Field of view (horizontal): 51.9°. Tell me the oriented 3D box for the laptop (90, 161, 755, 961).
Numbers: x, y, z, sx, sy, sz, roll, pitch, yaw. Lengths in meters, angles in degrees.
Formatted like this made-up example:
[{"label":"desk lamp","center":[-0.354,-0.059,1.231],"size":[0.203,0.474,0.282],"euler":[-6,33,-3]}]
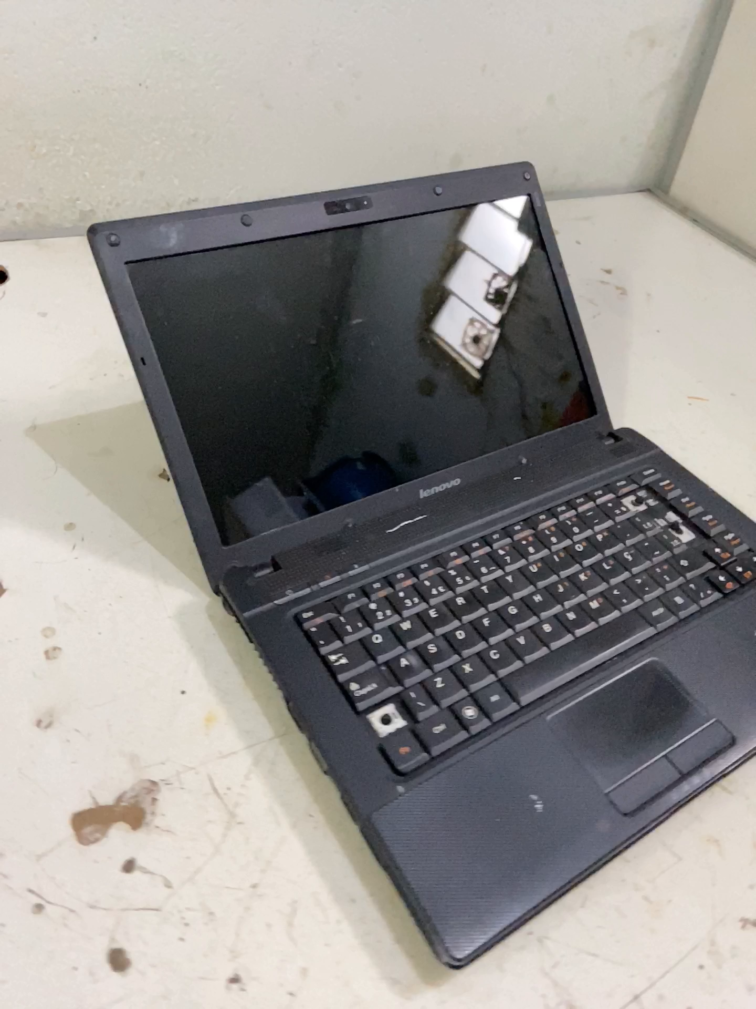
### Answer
[{"label":"laptop","center":[0.078,-0.045,0.483],"size":[0.358,0.147,0.423],"euler":[-19,48,-27]}]
